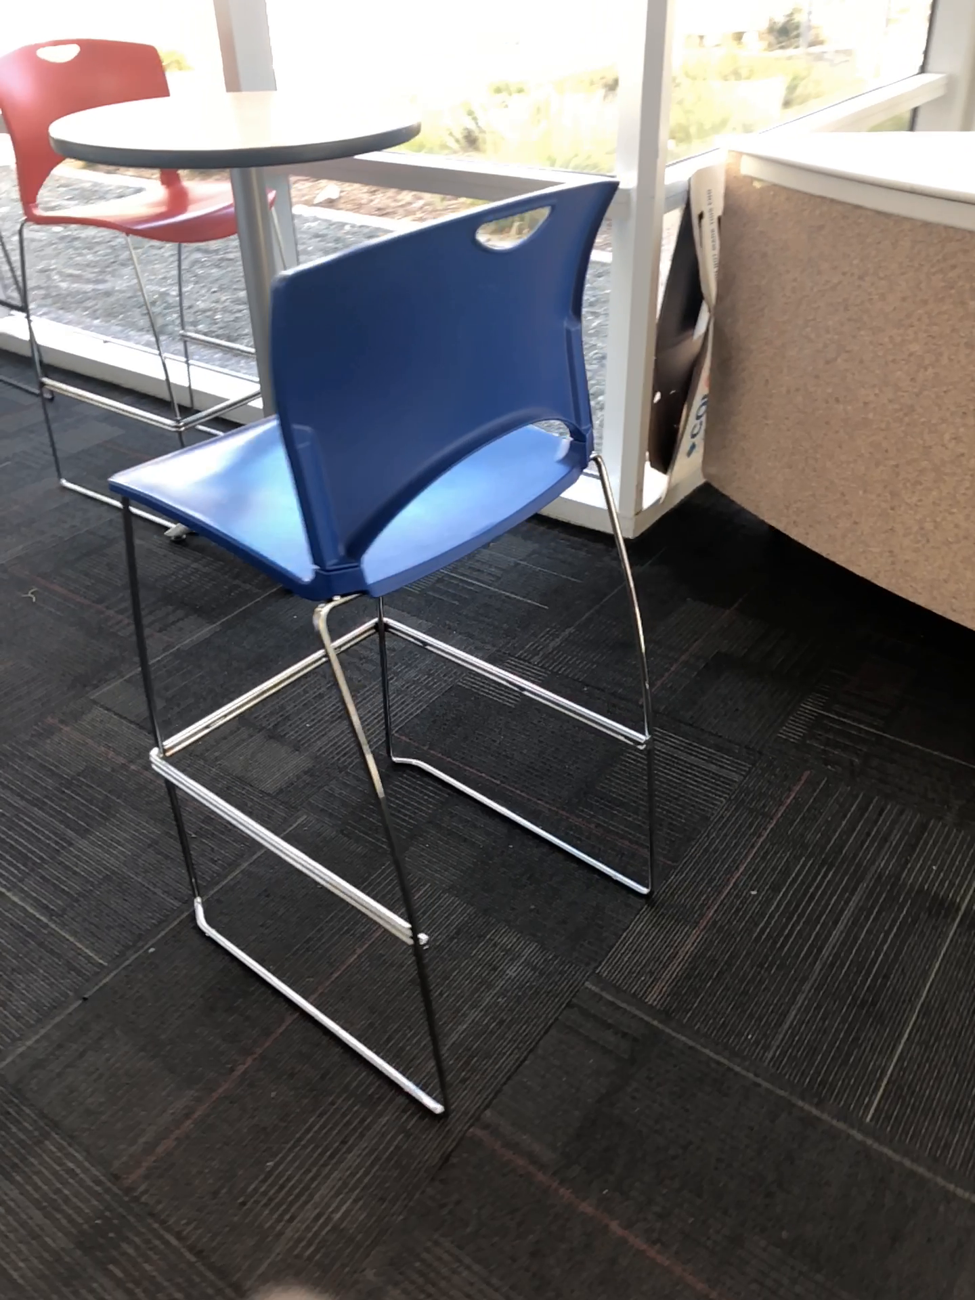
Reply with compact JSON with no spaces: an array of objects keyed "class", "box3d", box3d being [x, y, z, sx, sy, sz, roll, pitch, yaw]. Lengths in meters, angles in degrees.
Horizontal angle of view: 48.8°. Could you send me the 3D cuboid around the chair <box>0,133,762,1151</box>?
[{"class":"chair","box3d":[-0.125,-0.050,1.324,0.612,0.965,0.551,24,41,34]}]
